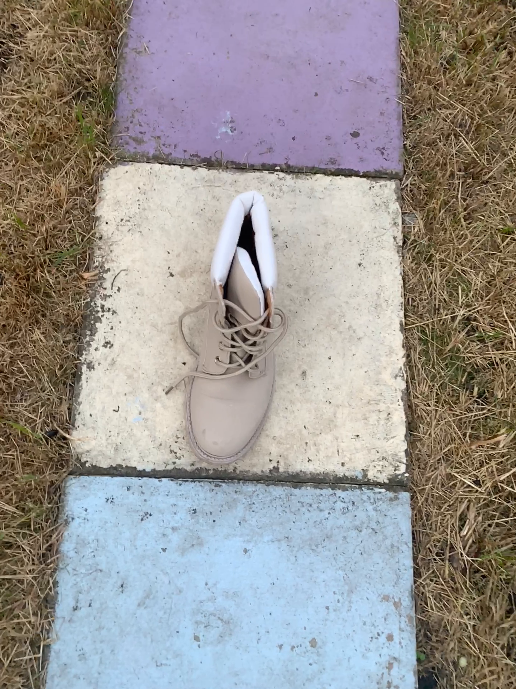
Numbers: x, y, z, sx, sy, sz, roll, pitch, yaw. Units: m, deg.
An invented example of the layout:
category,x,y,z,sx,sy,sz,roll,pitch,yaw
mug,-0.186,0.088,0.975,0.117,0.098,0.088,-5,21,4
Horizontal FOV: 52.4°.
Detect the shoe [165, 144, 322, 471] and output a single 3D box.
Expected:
category,x,y,z,sx,sy,sz,roll,pitch,yaw
shoe,-0.015,-0.019,0.547,0.100,0.199,0.281,8,75,-3
